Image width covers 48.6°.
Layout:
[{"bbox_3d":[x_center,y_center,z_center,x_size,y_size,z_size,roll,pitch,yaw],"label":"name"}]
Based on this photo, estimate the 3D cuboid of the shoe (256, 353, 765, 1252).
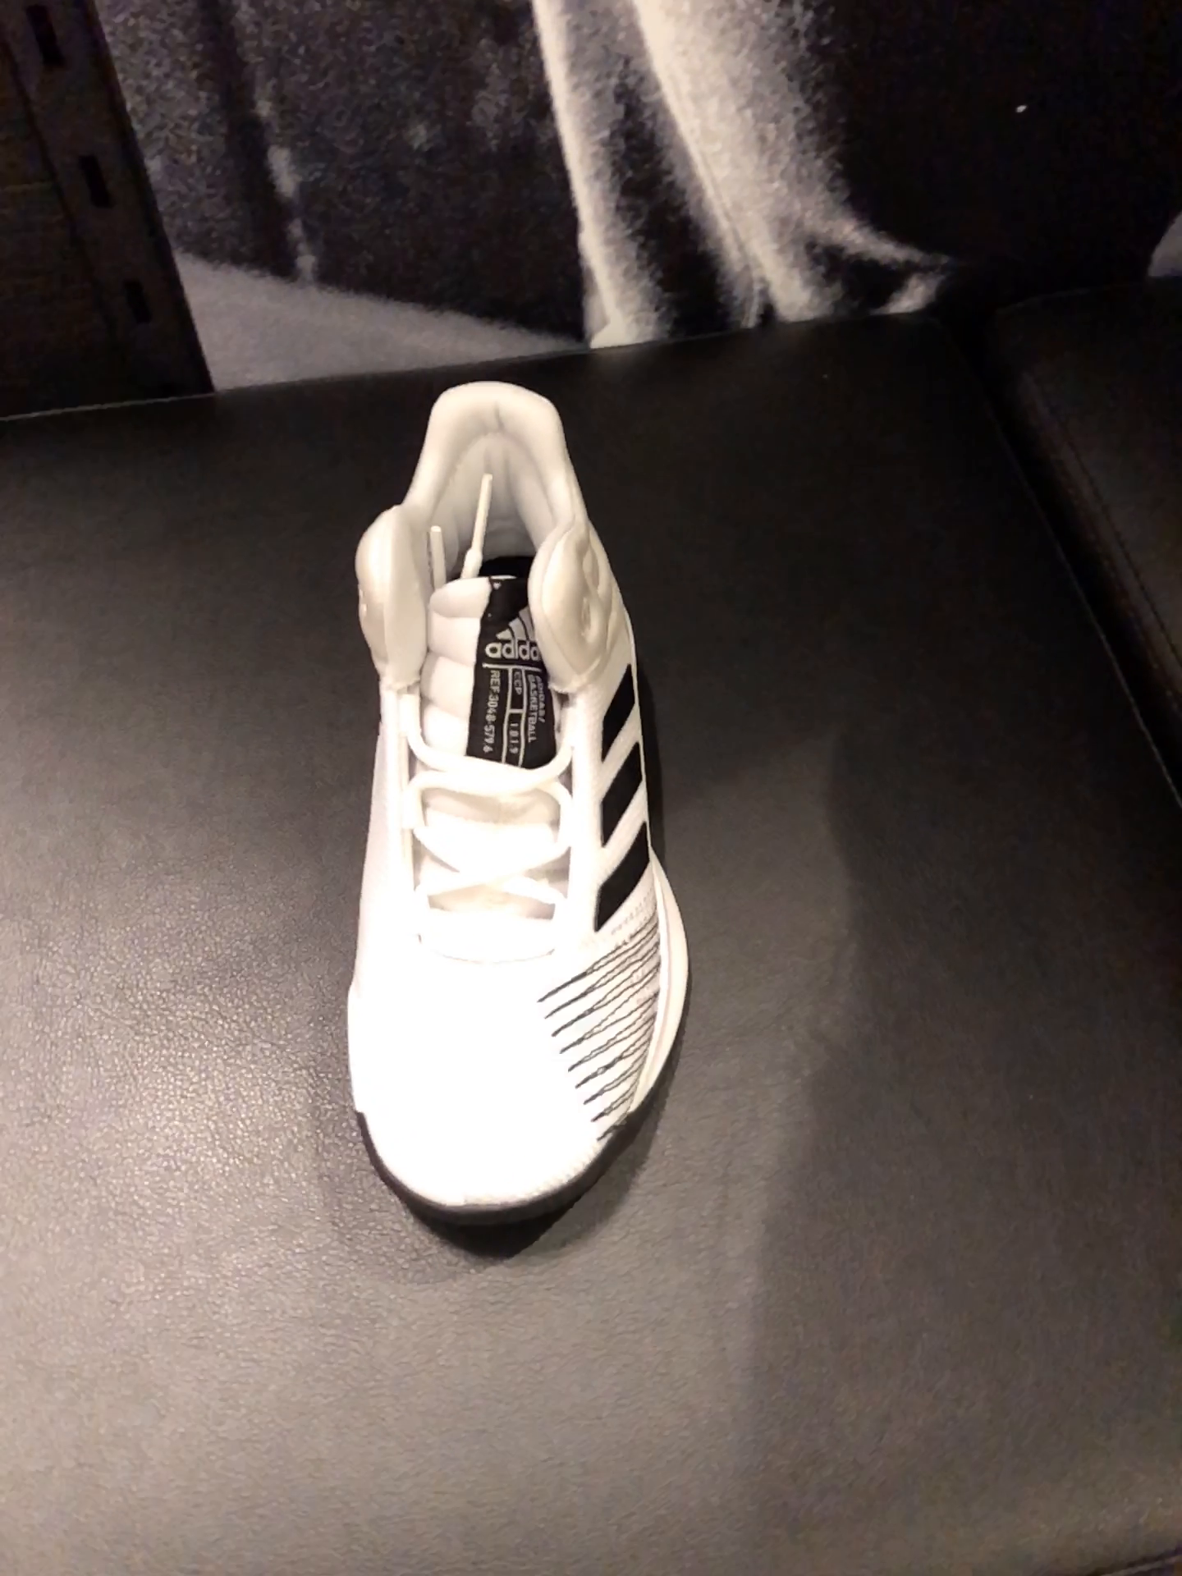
[{"bbox_3d":[-0.020,0.001,0.360,0.100,0.110,0.220,-1,60,-2],"label":"shoe"}]
